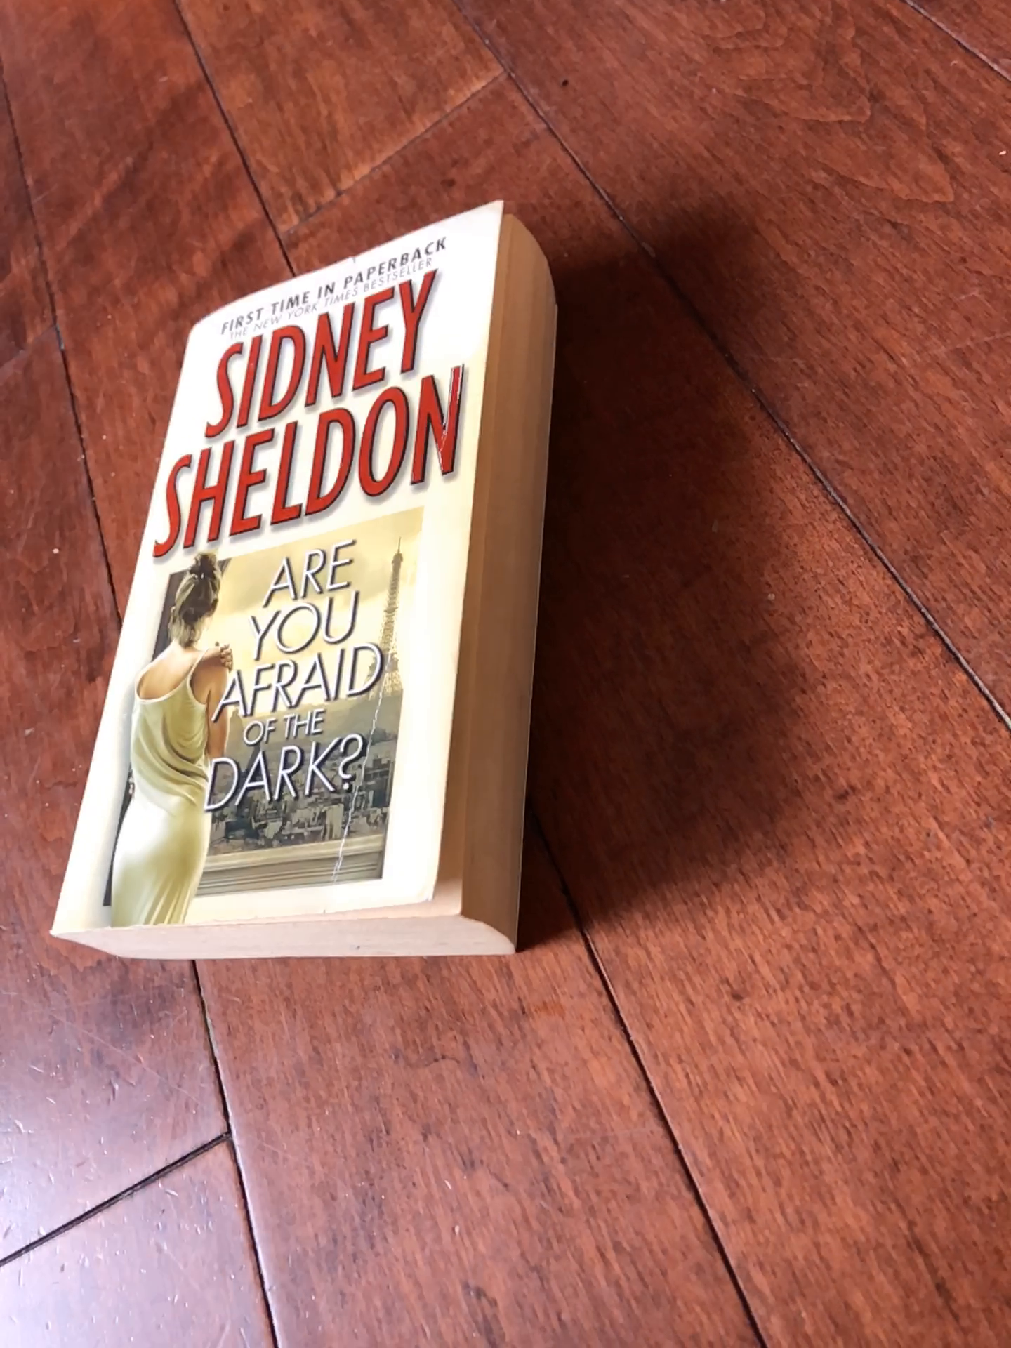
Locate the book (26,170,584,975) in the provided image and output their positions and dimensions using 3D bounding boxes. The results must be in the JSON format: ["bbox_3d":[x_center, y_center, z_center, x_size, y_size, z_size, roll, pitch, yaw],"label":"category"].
[{"bbox_3d":[-0.042,-0.023,0.274,0.108,0.040,0.180,-10,62,28],"label":"book"}]
